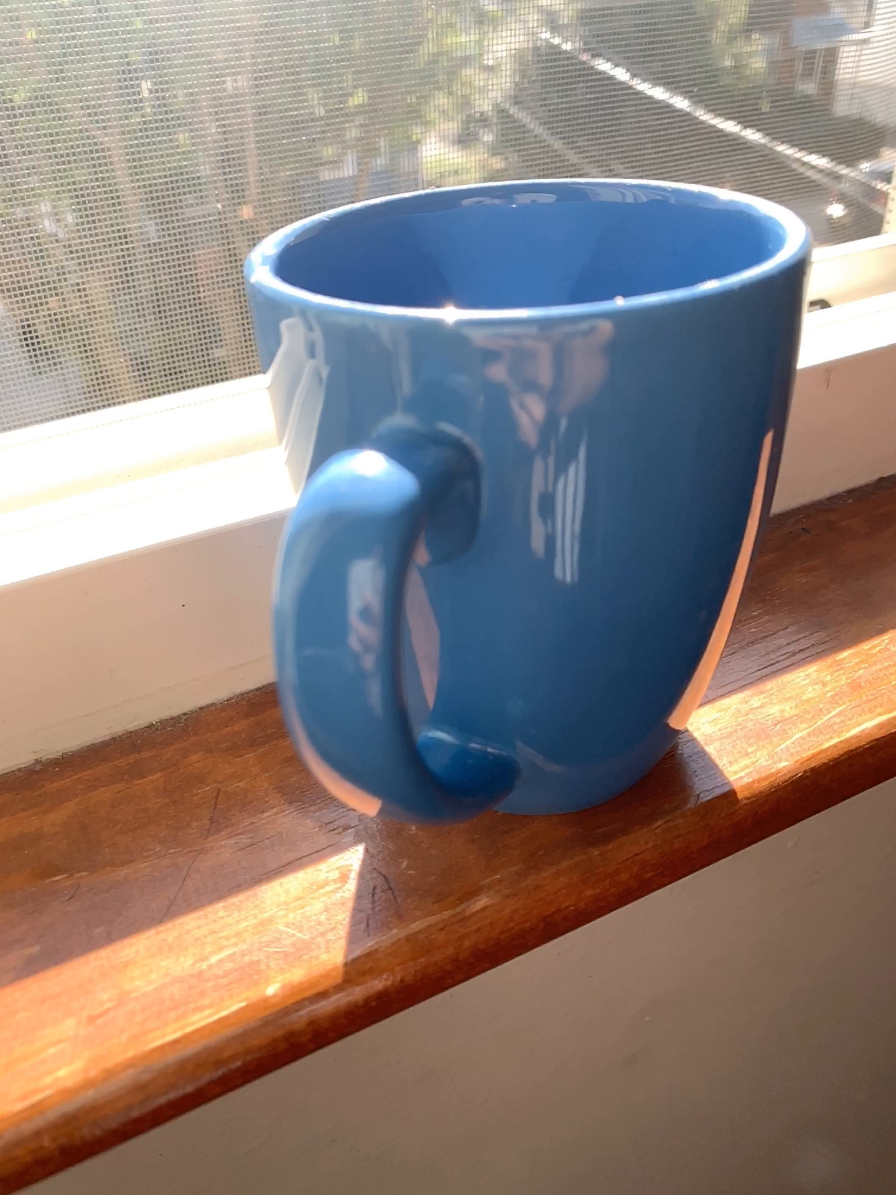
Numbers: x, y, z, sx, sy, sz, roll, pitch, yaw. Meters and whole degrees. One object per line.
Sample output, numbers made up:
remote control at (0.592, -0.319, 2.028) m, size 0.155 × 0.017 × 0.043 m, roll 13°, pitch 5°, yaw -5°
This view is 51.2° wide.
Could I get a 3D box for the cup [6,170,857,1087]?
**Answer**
cup at (0.012, -0.010, 0.160) m, size 0.081 × 0.095 × 0.114 m, roll 12°, pitch 37°, yaw 21°
